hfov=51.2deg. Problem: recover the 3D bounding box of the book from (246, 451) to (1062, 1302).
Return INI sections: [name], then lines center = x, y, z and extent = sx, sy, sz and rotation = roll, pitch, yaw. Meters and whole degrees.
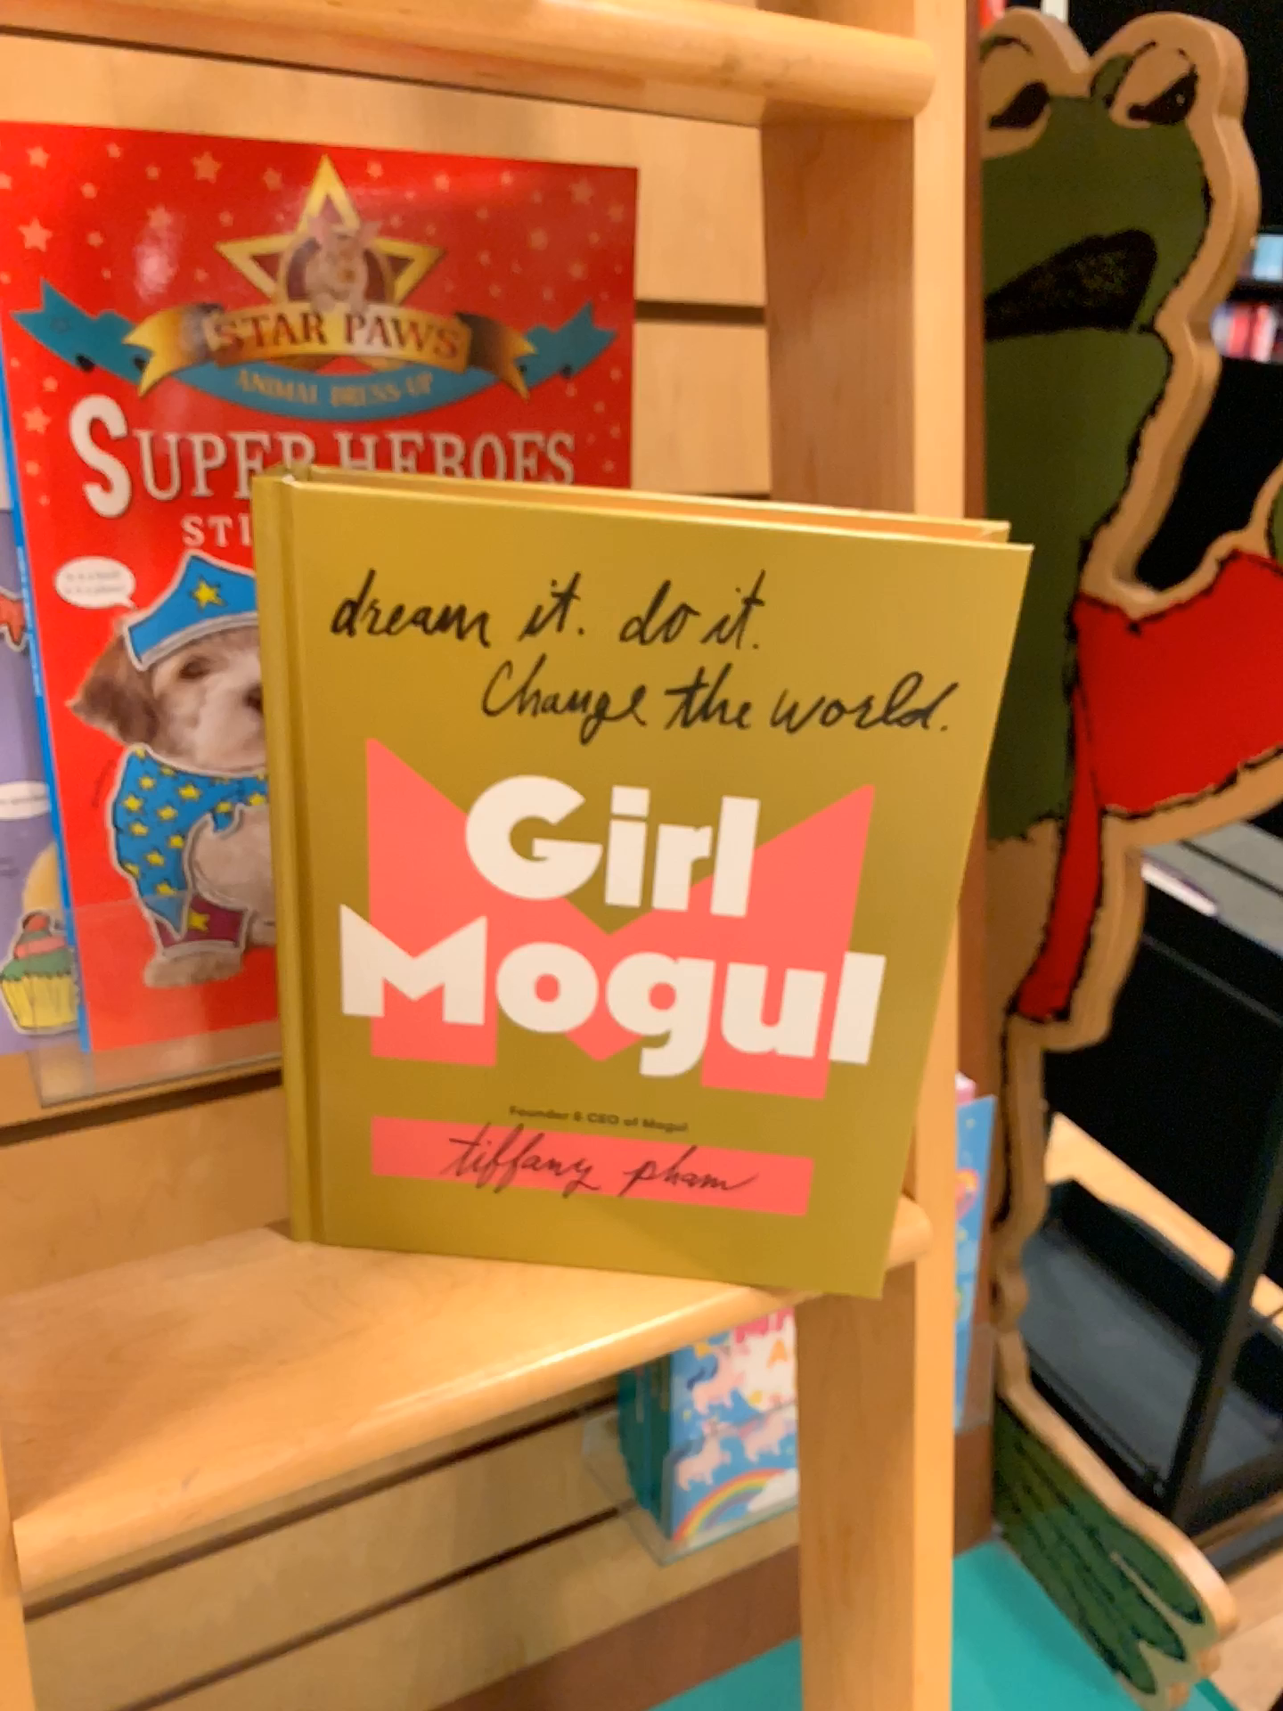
[book]
center = -0.005, 0.016, 0.354
extent = 0.180, 0.219, 0.030
rotation = 5, 25, 0
